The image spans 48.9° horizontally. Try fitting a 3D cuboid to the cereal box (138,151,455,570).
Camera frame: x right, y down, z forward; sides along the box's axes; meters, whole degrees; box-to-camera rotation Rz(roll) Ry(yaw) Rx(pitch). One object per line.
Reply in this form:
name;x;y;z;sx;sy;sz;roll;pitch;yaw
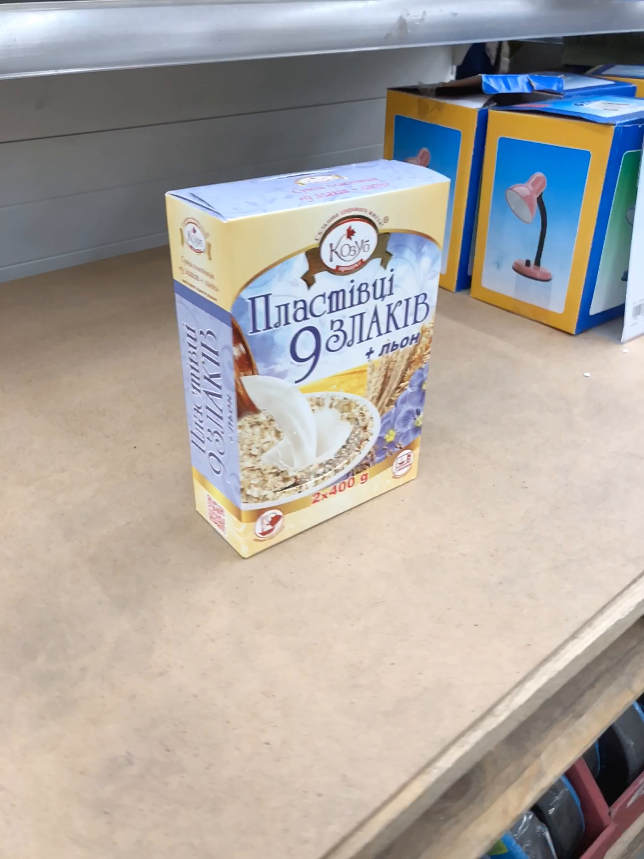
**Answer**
cereal box;-0.014;-0.048;0.484;0.181;0.238;0.070;-21;40;-31
